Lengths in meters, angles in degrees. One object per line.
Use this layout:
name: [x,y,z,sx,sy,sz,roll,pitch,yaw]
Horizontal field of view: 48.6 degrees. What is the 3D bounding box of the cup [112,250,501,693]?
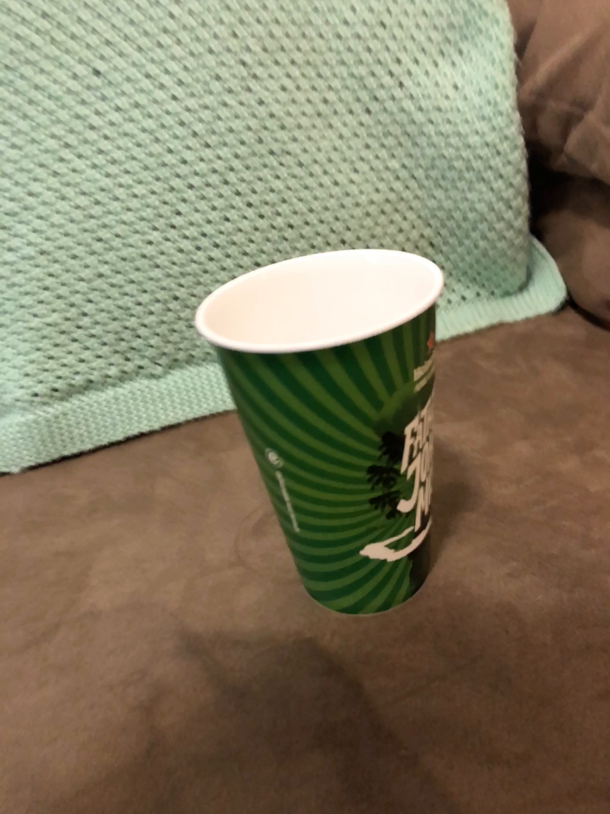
cup: [0.009,0.016,0.280,0.100,0.129,0.100,-9,28,5]
